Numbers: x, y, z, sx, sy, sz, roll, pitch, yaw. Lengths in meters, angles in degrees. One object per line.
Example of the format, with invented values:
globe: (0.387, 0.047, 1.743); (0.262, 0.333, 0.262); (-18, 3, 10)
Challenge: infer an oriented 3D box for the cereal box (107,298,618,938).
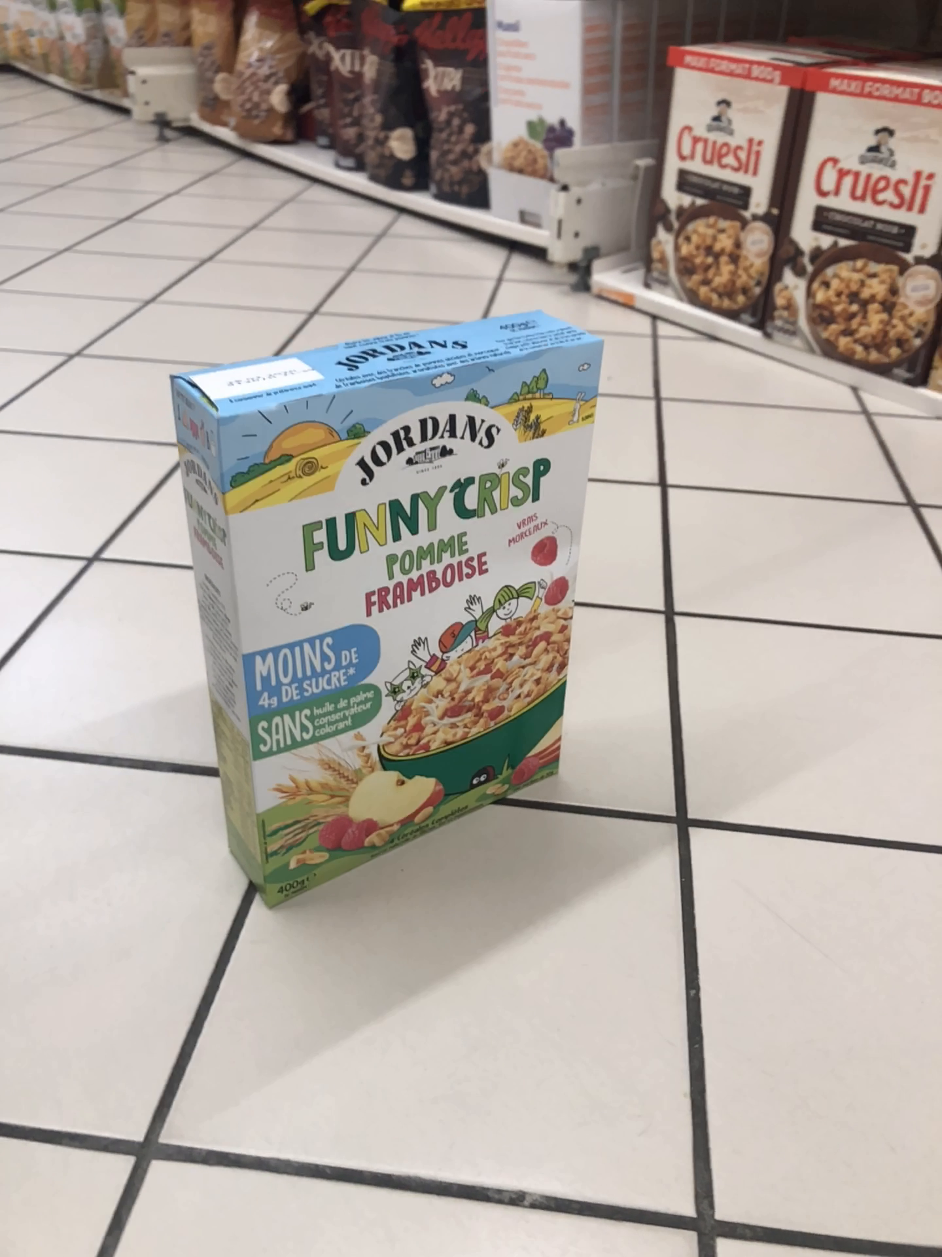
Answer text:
cereal box: (-0.039, -0.007, 0.452); (0.181, 0.229, 0.070); (-20, 38, -30)
